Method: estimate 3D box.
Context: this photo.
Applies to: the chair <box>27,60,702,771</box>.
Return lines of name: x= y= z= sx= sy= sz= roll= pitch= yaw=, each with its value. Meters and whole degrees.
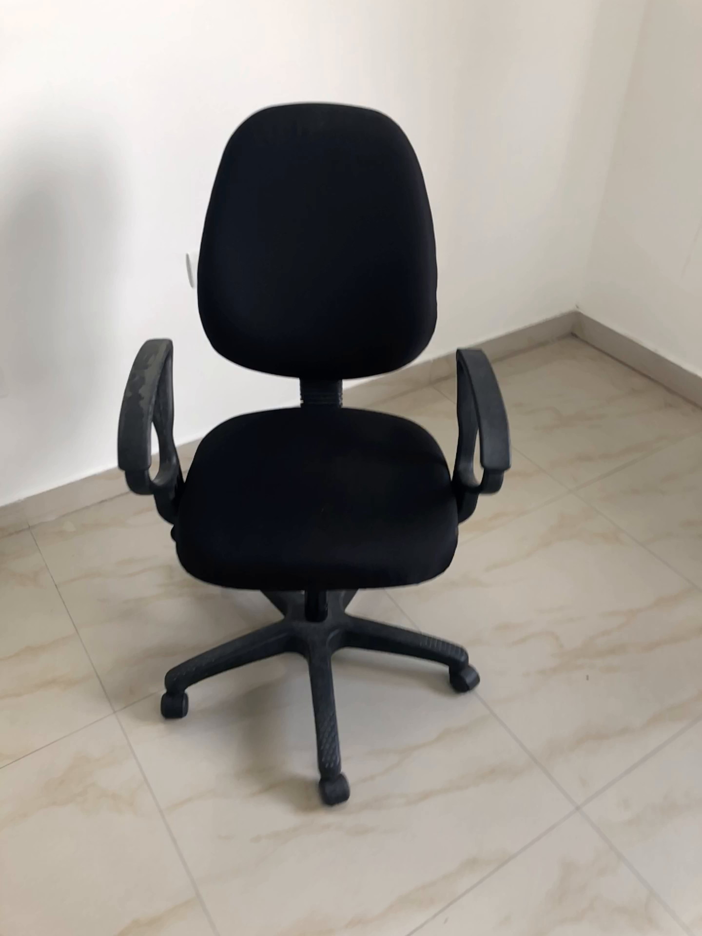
chair: x=0.001 y=-0.095 z=1.250 sx=0.680 sy=0.884 sz=0.674 roll=-4 pitch=39 yaw=-6
